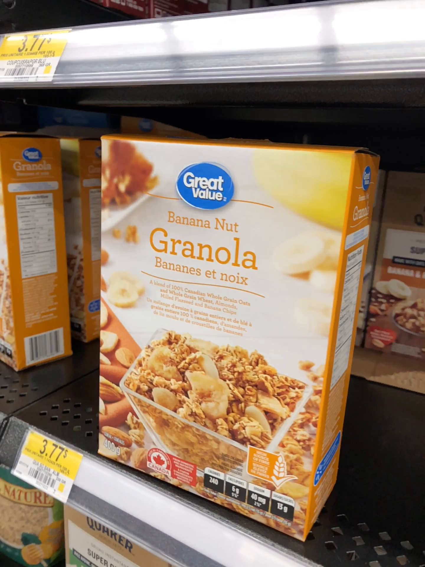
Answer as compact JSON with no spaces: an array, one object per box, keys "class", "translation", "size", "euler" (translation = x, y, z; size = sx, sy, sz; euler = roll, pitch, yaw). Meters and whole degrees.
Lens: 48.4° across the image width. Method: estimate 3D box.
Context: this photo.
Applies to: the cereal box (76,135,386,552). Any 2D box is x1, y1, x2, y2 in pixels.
[{"class":"cereal box","translation":[0.002,0.022,0.288],"size":[0.160,0.209,0.060],"euler":[11,18,28]}]
